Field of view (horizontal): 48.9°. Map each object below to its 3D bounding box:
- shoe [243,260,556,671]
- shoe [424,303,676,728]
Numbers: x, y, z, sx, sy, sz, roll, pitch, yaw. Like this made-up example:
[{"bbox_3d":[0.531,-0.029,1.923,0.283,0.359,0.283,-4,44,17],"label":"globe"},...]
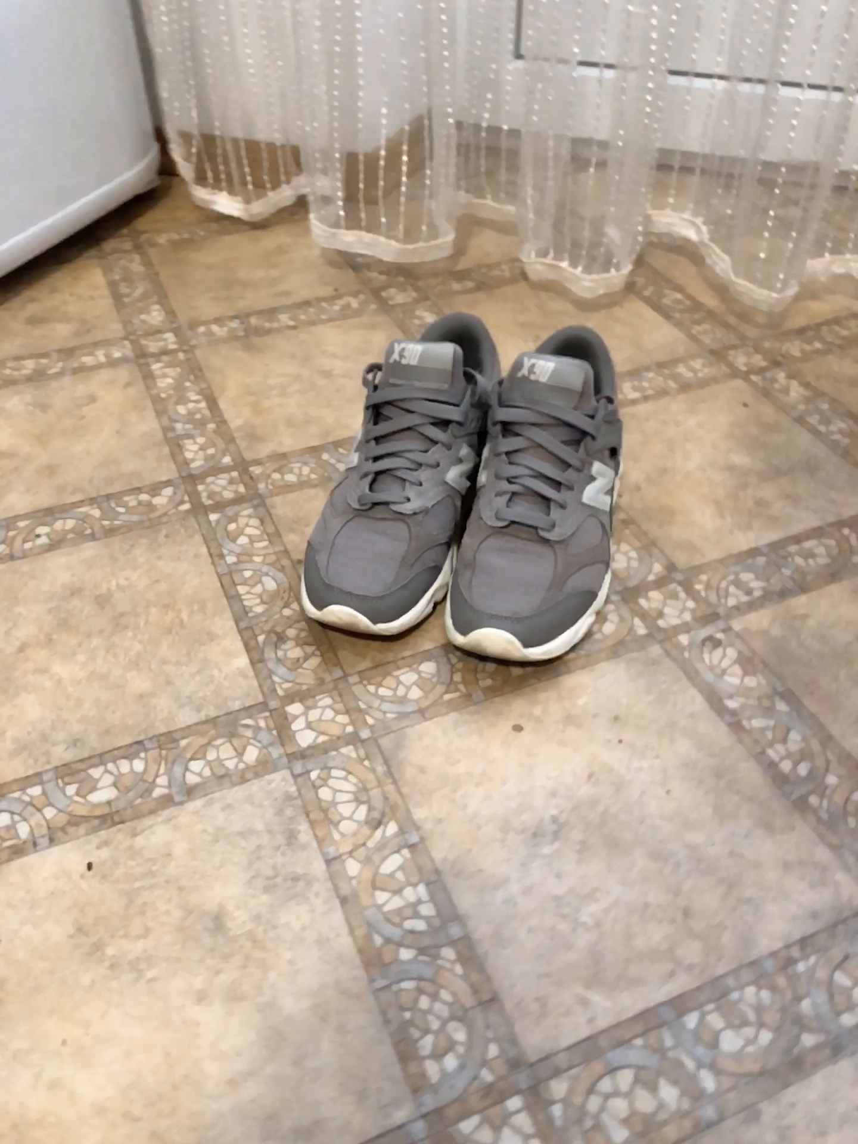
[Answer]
[{"bbox_3d":[-0.004,-0.084,0.611,0.100,0.119,0.272,13,43,15],"label":"shoe"},{"bbox_3d":[0.085,-0.052,0.606,0.100,0.119,0.272,11,43,13],"label":"shoe"}]
